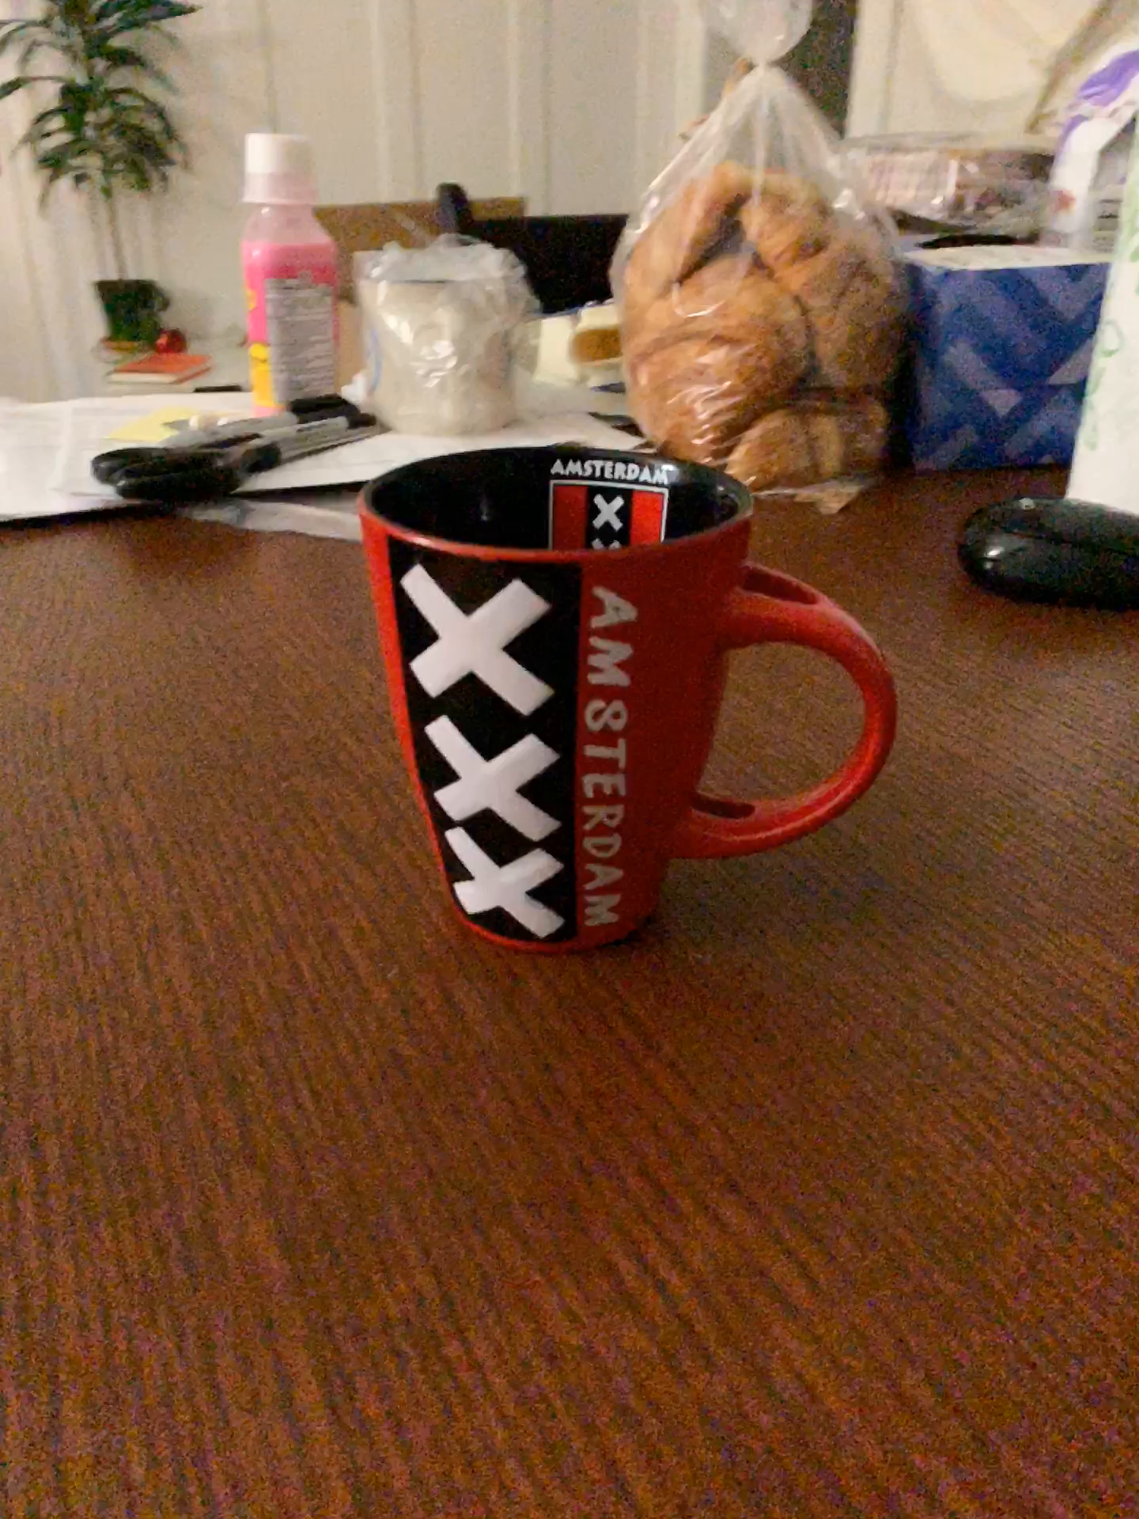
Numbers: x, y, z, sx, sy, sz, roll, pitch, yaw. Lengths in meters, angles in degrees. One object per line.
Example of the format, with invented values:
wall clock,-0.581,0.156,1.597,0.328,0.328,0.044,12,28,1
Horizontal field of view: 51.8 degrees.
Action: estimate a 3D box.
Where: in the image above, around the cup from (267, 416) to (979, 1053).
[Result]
cup,0.017,-0.015,0.271,0.130,0.099,0.090,10,29,17
